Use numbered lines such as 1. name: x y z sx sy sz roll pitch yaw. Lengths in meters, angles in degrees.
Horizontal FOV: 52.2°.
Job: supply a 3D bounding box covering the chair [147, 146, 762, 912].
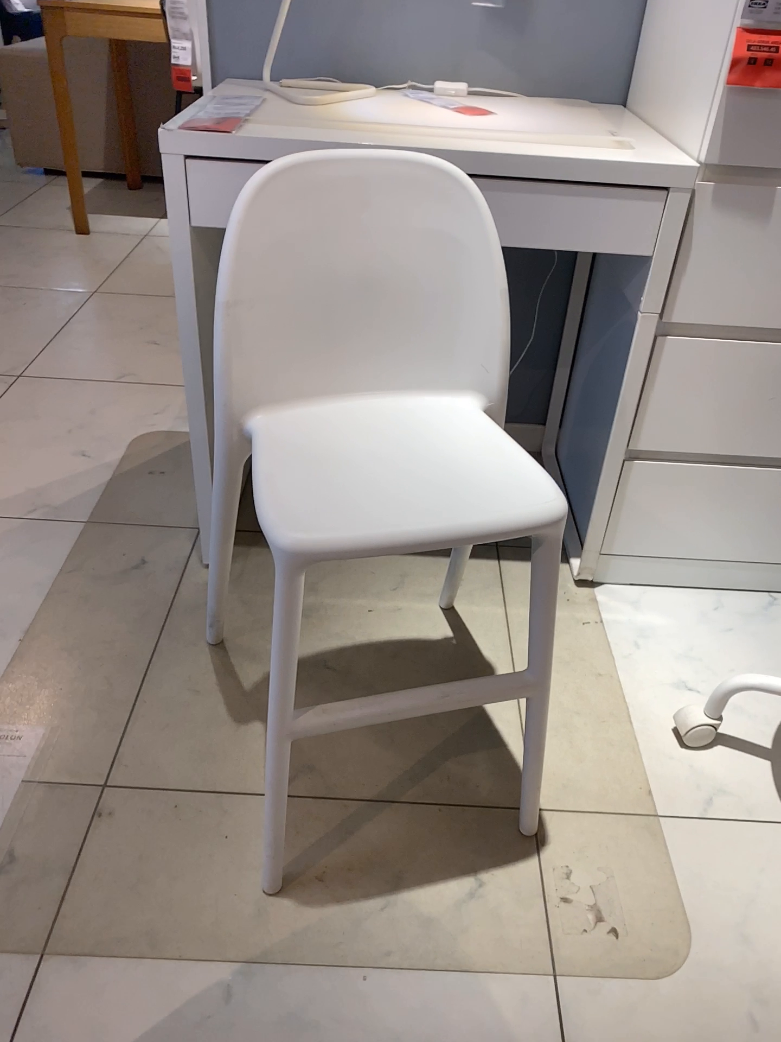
1. chair: -0.014 -0.003 0.961 0.450 0.727 0.492 -6 37 -13
